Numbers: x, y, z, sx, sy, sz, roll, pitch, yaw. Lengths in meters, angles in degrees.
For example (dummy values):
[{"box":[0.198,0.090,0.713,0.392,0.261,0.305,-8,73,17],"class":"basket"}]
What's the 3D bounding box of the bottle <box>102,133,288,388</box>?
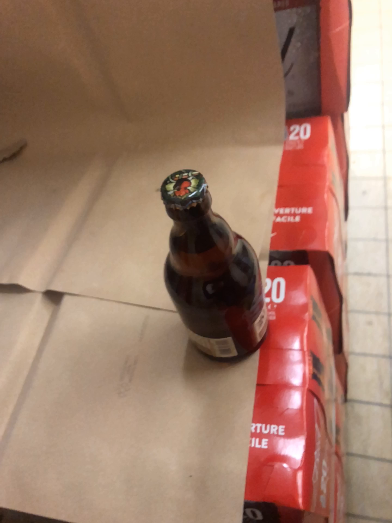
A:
[{"box":[0.008,0.013,0.307,0.080,0.169,0.080,-8,55,11],"class":"bottle"}]
